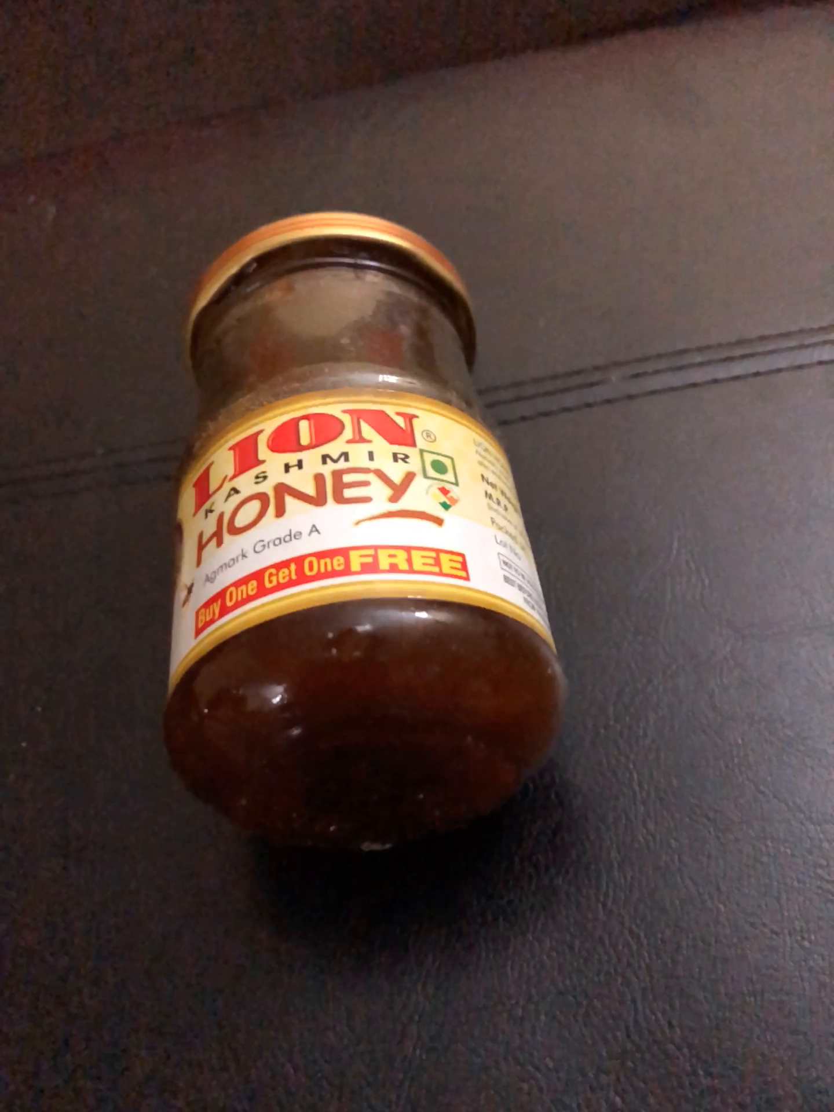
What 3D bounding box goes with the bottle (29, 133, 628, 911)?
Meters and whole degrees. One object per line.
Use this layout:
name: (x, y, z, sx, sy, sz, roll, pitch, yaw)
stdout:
bottle: (-0.012, -0.007, 0.174, 0.068, 0.070, 0.110, -15, 51, 8)
